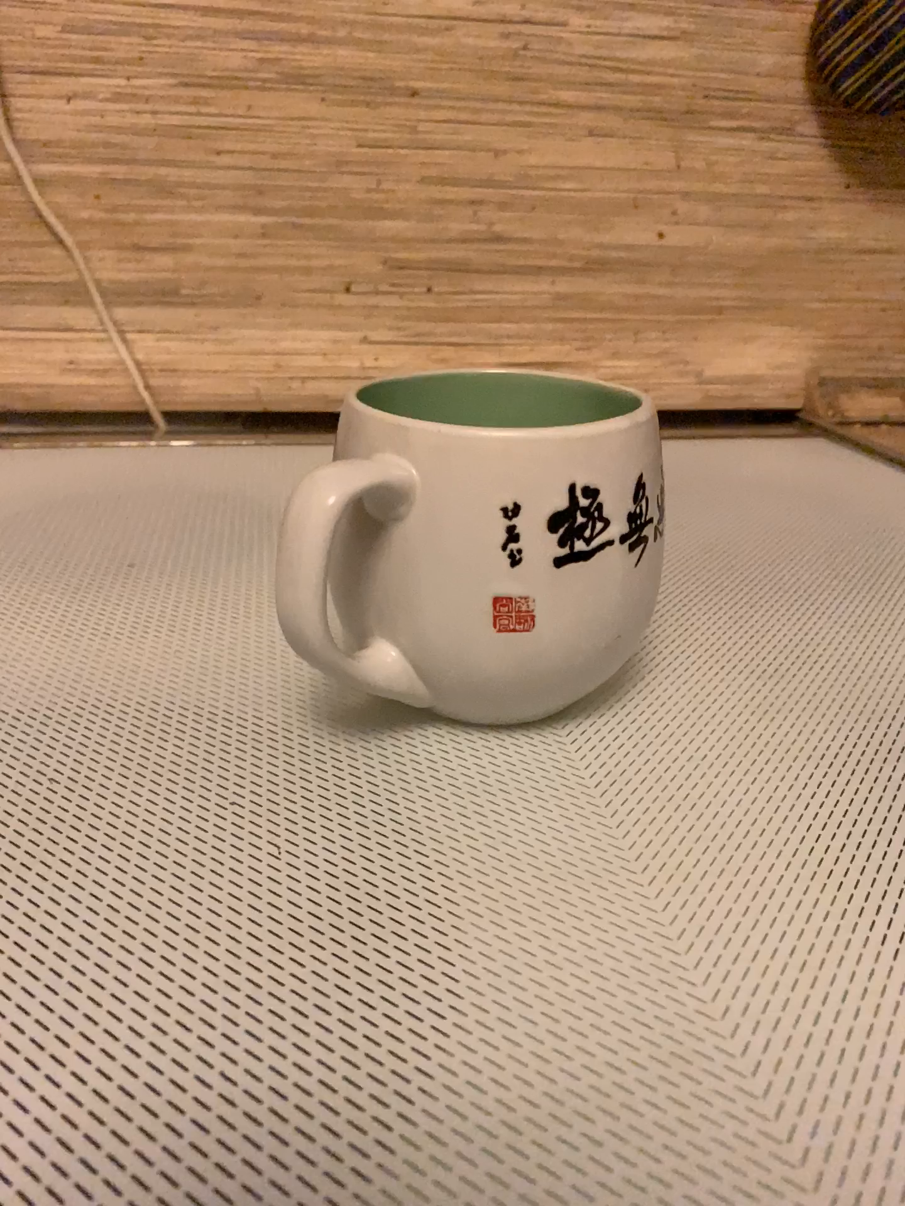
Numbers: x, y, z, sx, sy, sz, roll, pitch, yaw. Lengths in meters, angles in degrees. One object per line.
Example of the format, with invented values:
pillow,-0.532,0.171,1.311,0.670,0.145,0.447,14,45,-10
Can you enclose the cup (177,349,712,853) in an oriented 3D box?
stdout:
cup,0.004,-0.015,0.265,0.088,0.091,0.124,15,26,29
